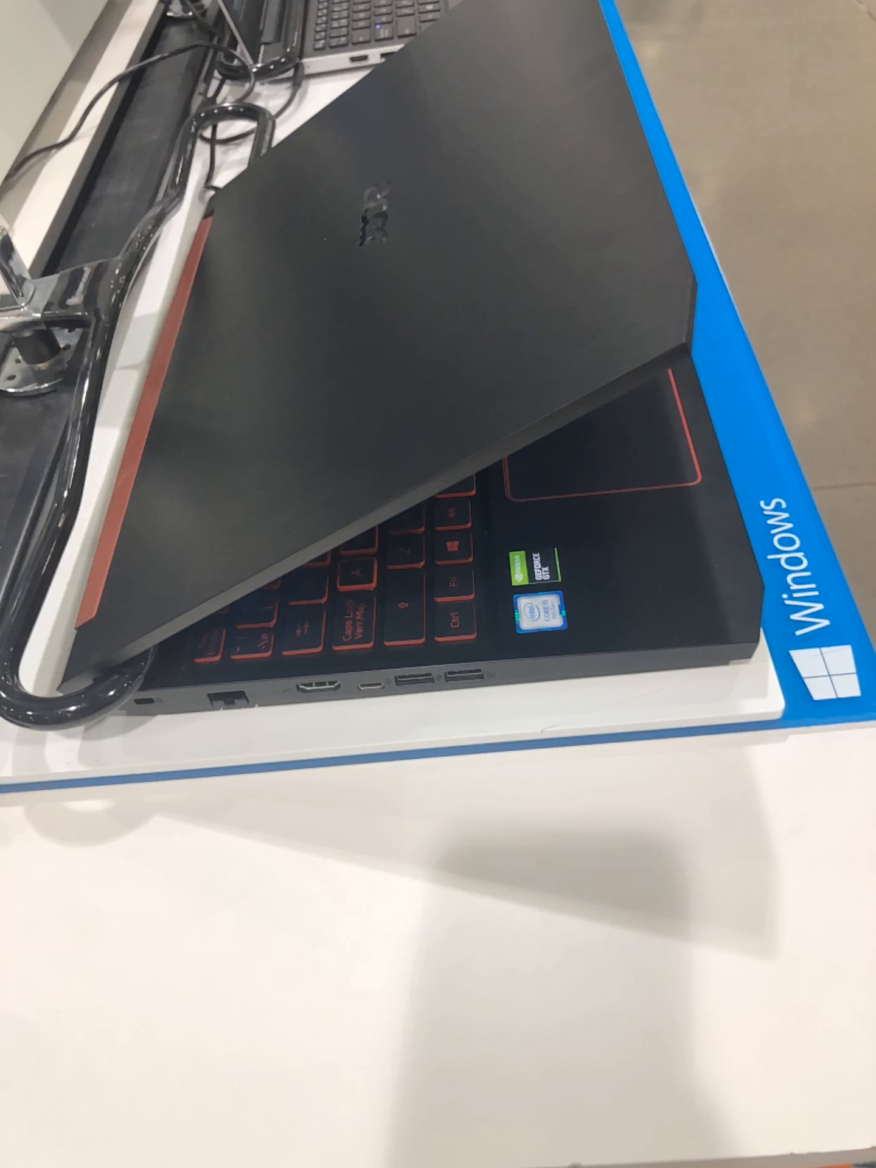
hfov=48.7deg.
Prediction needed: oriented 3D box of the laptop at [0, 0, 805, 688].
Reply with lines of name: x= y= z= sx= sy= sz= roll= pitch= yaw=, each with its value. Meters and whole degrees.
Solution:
laptop: x=-0.017 y=-0.137 z=0.413 sx=0.218 sy=0.121 sz=0.345 roll=-6 pitch=47 yaw=3
